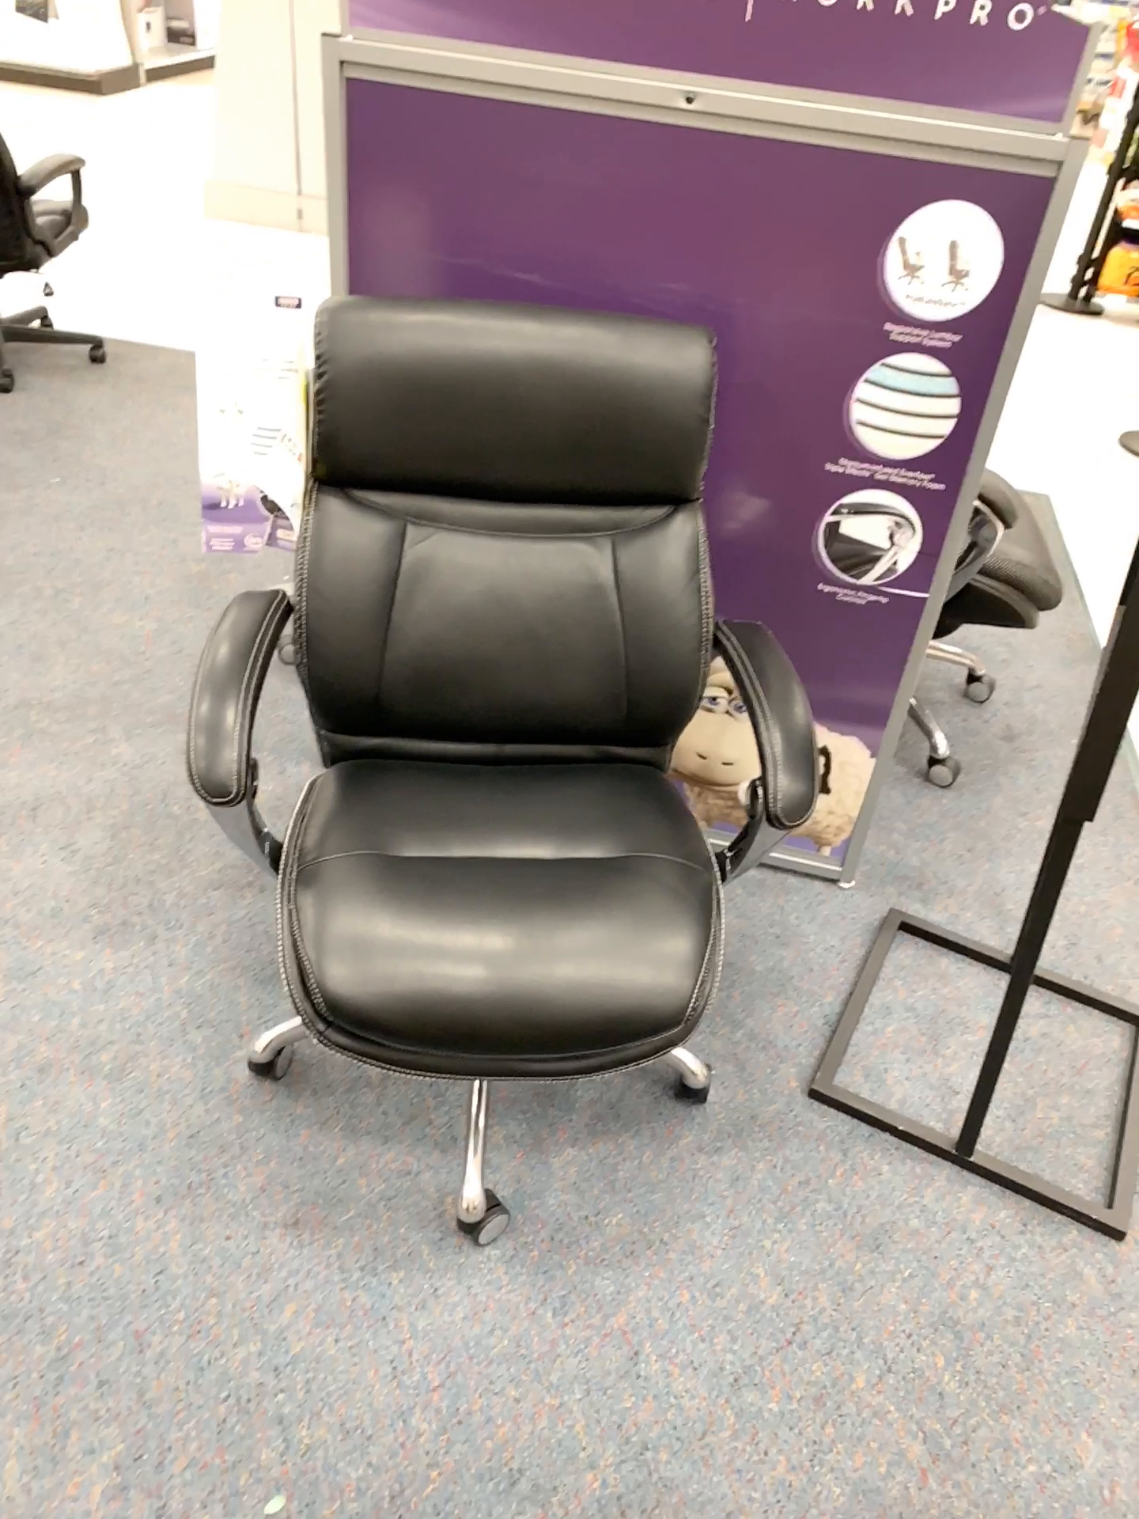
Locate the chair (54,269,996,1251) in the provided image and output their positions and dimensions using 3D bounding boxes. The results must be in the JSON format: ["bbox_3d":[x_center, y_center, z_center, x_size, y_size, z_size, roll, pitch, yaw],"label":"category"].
[{"bbox_3d":[-0.081,-0.001,1.502,0.738,0.946,0.785,3,37,-5],"label":"chair"}]
